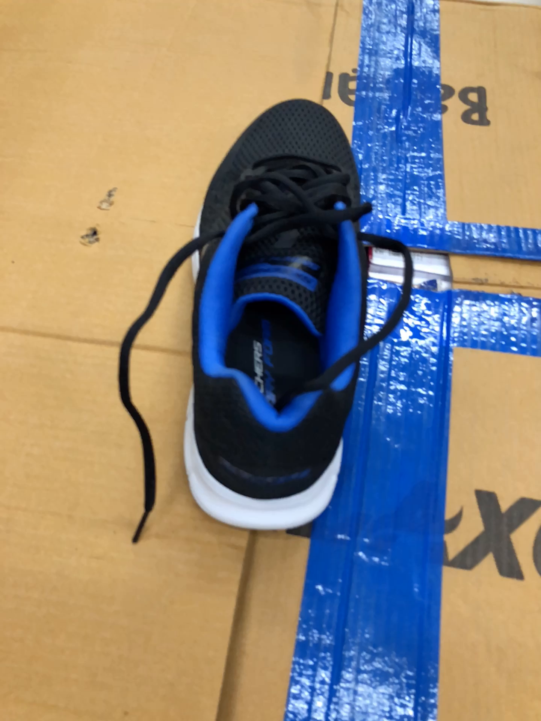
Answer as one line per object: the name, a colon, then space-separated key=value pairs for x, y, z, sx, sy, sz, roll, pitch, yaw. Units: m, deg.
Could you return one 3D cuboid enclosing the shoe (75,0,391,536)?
shoe: x=-0.002 y=-0.062 z=0.324 sx=0.114 sy=0.106 sz=0.279 roll=5 pitch=62 yaw=2
